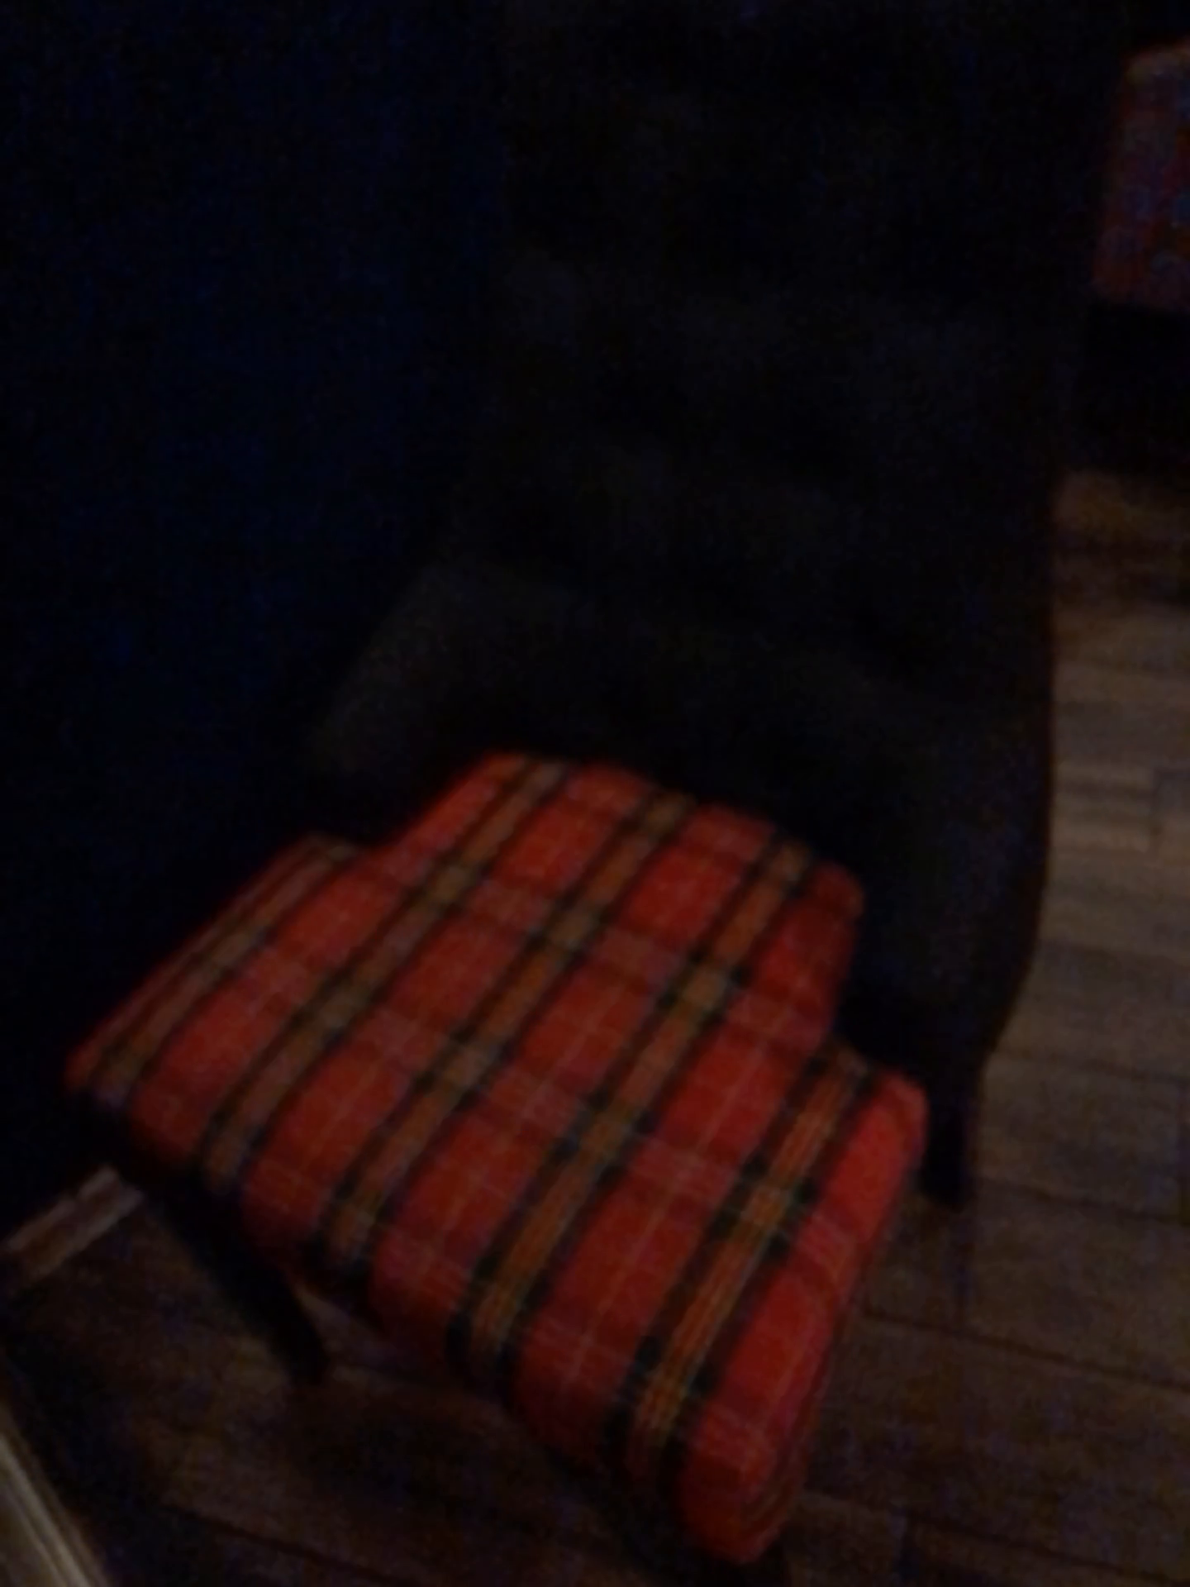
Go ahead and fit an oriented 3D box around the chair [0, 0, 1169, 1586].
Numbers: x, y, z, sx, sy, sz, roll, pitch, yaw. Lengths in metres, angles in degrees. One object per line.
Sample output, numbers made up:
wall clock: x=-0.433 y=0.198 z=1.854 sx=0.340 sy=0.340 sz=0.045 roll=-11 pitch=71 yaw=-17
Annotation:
chair: x=-0.042 y=0.052 z=0.907 sx=0.521 sy=1.003 sz=0.613 roll=18 pitch=48 yaw=28
